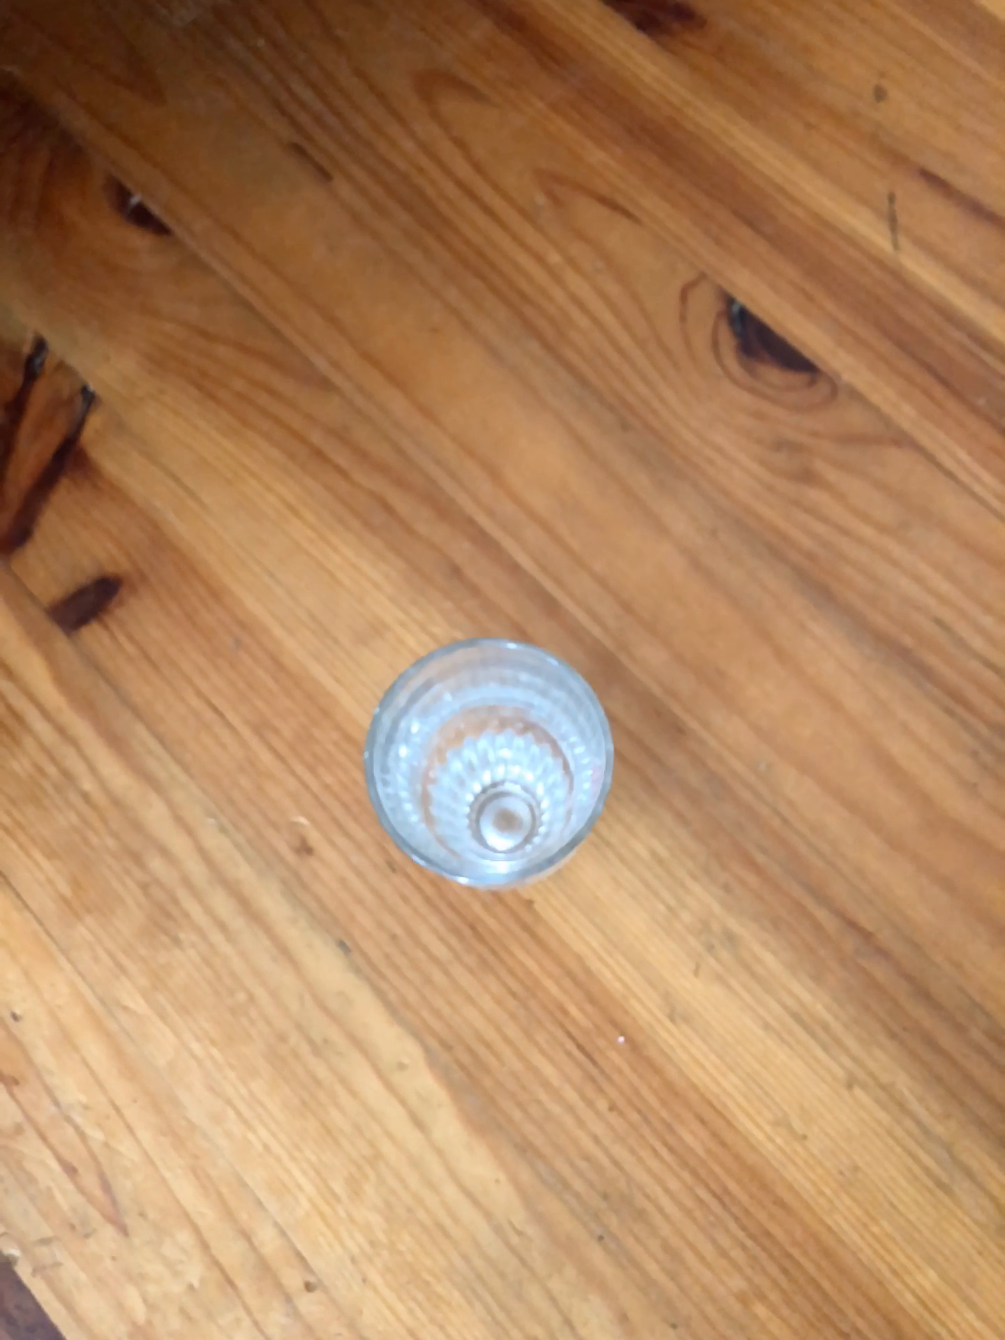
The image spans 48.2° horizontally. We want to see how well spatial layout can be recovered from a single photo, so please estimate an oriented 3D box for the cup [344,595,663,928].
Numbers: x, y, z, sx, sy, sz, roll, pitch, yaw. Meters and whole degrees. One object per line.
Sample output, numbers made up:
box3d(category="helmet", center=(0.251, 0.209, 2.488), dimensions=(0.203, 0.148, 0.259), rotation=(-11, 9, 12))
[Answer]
box3d(category="cup", center=(0.004, 0.033, 0.327), dimensions=(0.068, 0.117, 0.064), rotation=(-1, 73, 2))
